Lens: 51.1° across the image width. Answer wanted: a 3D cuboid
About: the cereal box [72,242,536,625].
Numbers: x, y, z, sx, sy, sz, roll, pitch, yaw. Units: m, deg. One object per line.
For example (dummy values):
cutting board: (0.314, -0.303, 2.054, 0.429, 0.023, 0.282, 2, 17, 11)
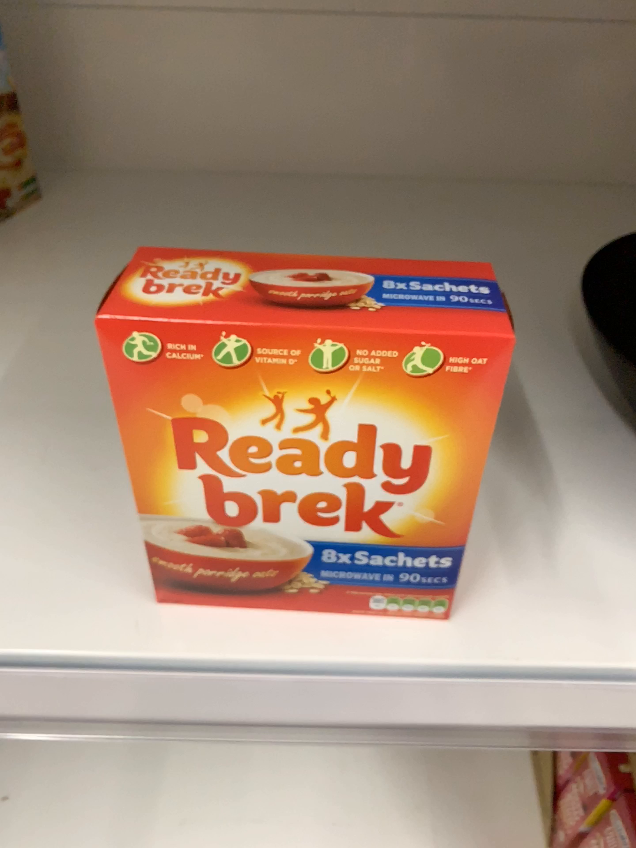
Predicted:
cereal box: (-0.007, 0.014, 0.345, 0.180, 0.188, 0.071, 3, 40, 1)
